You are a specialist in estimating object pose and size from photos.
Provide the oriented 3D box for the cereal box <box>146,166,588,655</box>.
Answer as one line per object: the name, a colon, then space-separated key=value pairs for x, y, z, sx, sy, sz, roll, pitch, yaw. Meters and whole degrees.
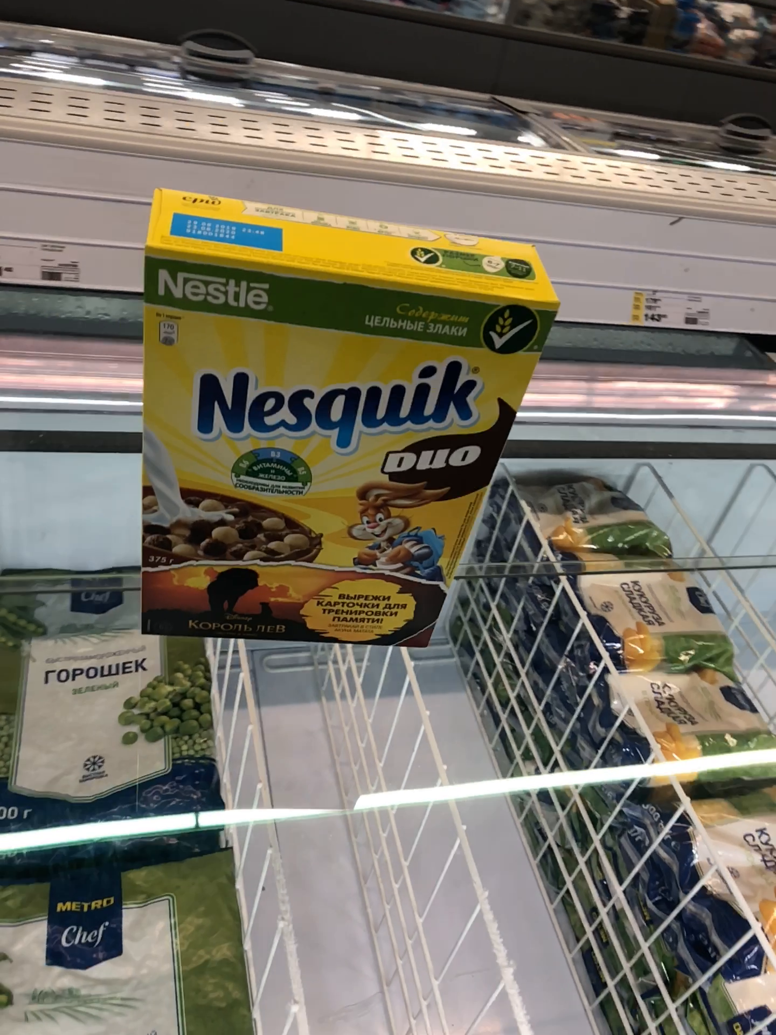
cereal box: x=-0.033 y=-0.037 z=0.496 sx=0.200 sy=0.278 sz=0.070 roll=4 pitch=43 yaw=-11
